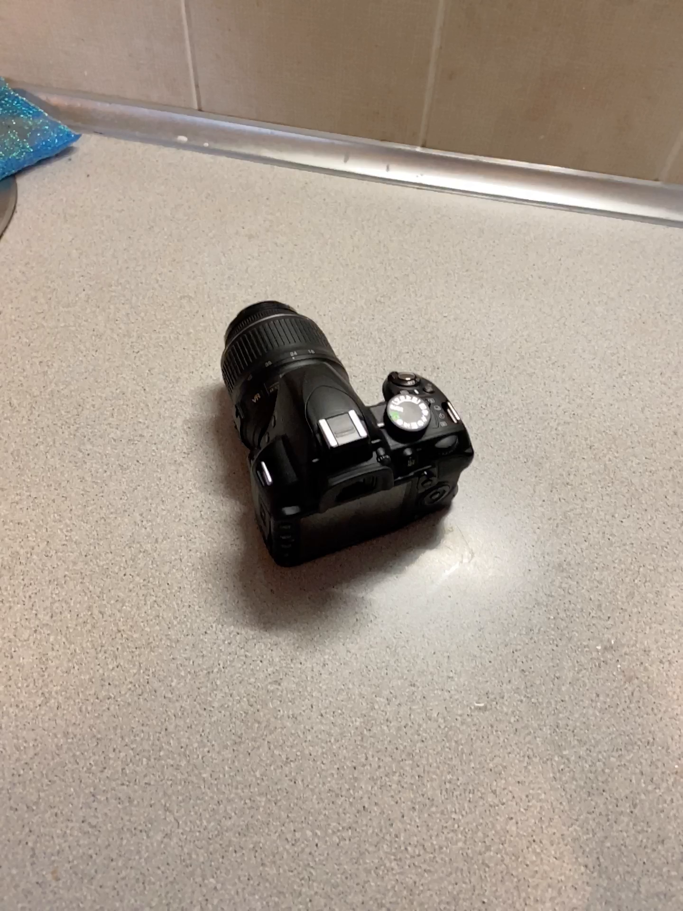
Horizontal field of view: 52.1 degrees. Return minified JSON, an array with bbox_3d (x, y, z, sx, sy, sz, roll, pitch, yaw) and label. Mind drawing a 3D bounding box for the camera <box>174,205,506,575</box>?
[{"bbox_3d":[-0.010,-0.045,0.416,0.122,0.091,0.178,-18,58,-15],"label":"camera"}]
